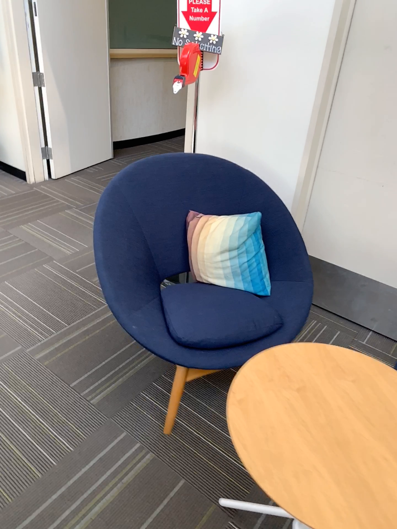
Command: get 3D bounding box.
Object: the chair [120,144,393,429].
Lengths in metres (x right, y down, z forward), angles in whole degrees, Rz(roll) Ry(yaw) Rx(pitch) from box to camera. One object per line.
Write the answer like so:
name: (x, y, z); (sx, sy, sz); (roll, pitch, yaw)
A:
chair: (0.106, 0.017, 1.749); (0.790, 0.835, 0.845); (-4, 32, -14)

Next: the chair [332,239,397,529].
chair: (1.160, 0.549, 1.211); (0.980, 0.944, 0.835); (-2, 31, -12)
